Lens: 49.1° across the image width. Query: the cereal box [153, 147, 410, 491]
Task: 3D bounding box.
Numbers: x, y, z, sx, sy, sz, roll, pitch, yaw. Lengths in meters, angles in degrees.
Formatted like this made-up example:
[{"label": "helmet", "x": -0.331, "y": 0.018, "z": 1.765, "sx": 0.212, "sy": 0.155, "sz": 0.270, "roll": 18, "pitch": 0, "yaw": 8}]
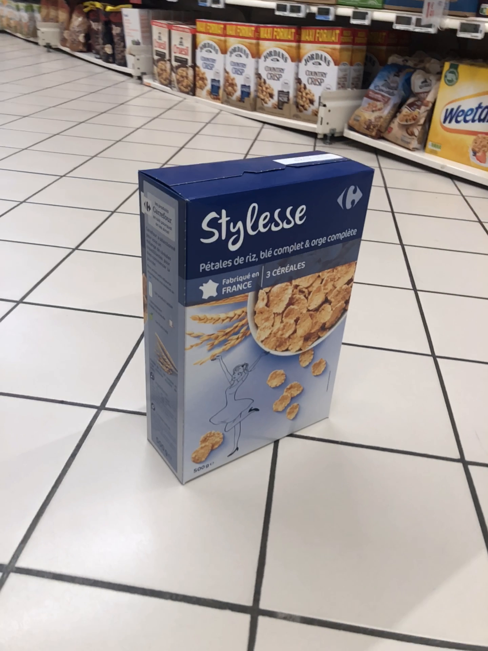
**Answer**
[{"label": "cereal box", "x": 0.027, "y": -0.010, "z": 0.511, "sx": 0.211, "sy": 0.278, "sz": 0.080, "roll": -18, "pitch": 39, "yaw": -33}]
